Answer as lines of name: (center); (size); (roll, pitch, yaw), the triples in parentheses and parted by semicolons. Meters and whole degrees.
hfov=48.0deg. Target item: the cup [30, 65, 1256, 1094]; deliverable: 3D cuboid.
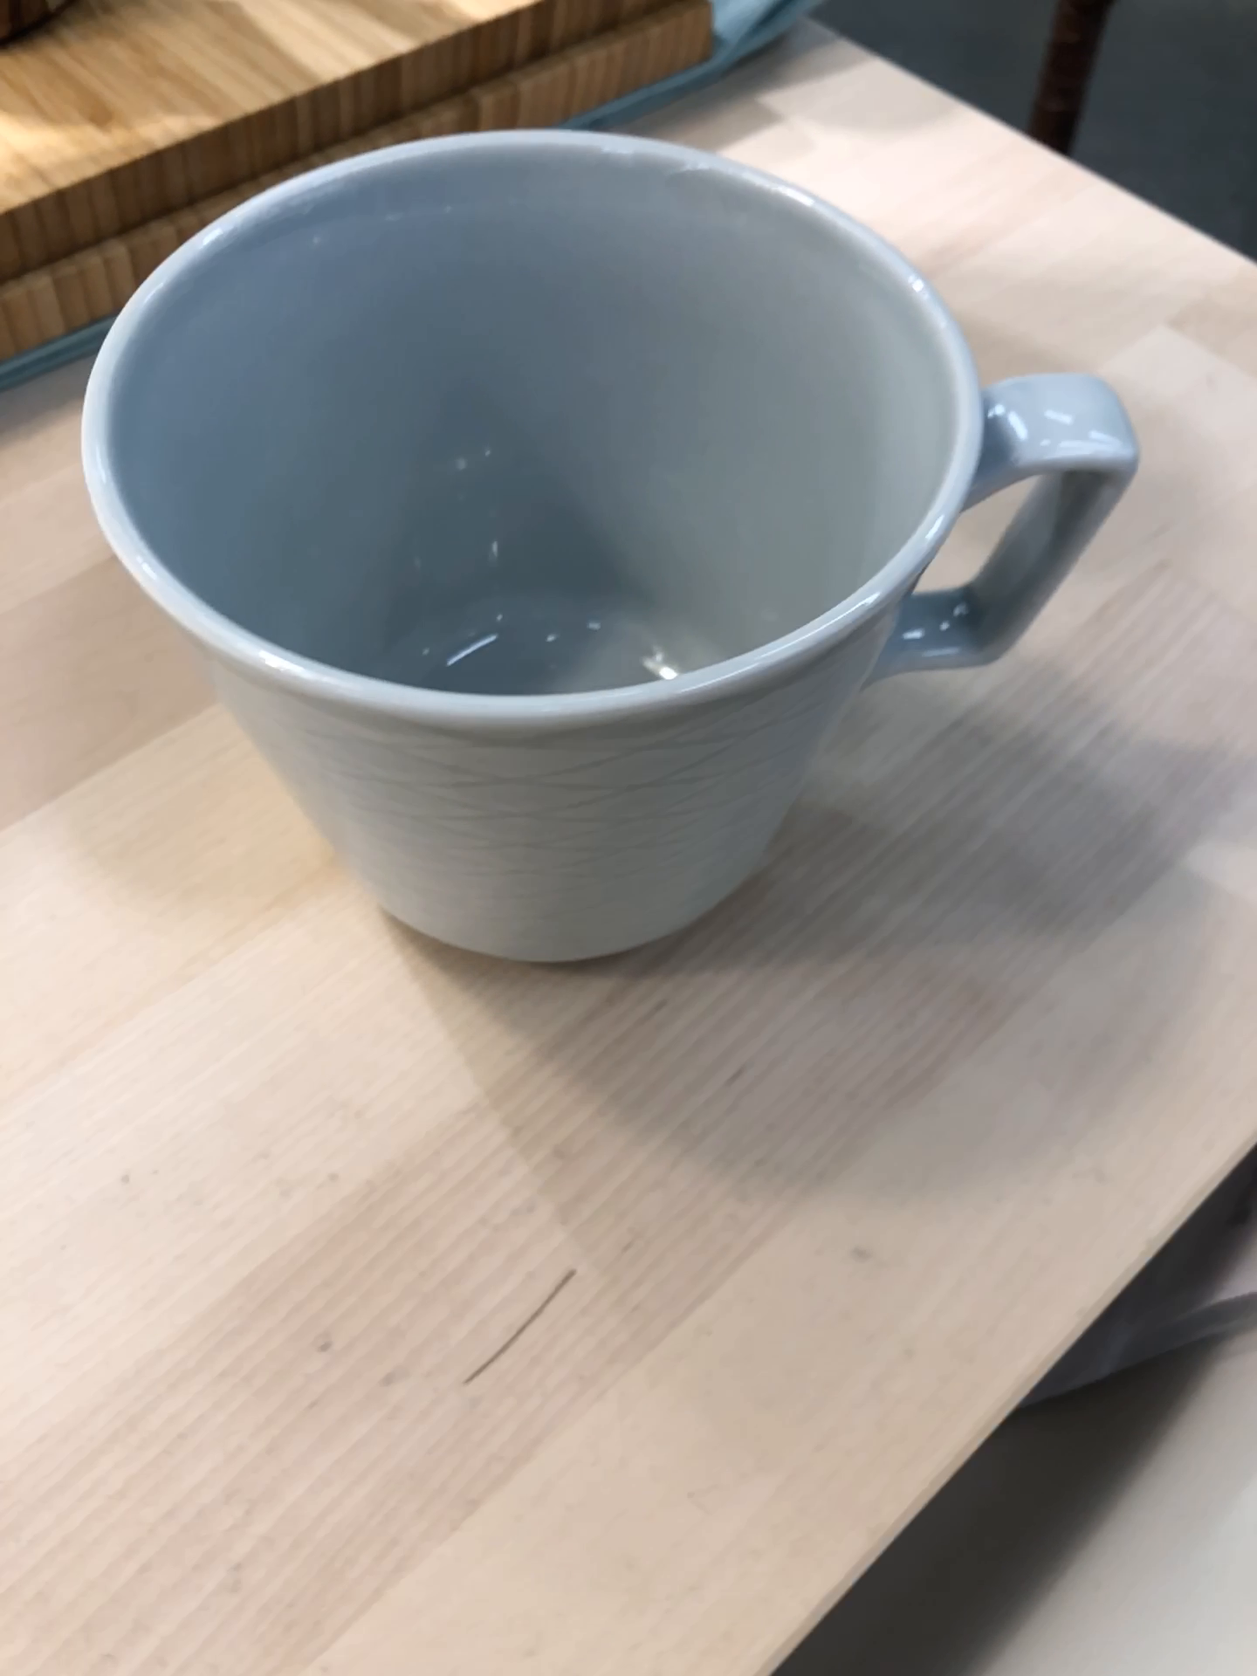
cup: (0.006, -0.038, 0.203); (0.140, 0.080, 0.111); (-6, 56, -5)
